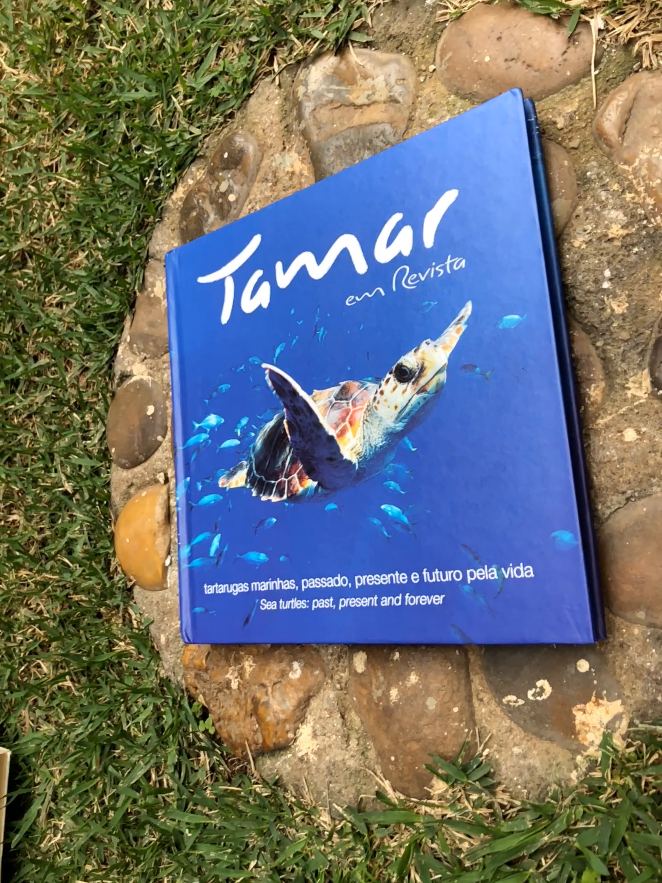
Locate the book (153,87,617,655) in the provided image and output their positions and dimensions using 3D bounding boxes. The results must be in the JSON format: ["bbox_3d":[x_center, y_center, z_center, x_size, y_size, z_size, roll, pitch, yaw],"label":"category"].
[{"bbox_3d":[0.001,-0.011,0.271,0.179,0.020,0.166,-11,78,38],"label":"book"}]
